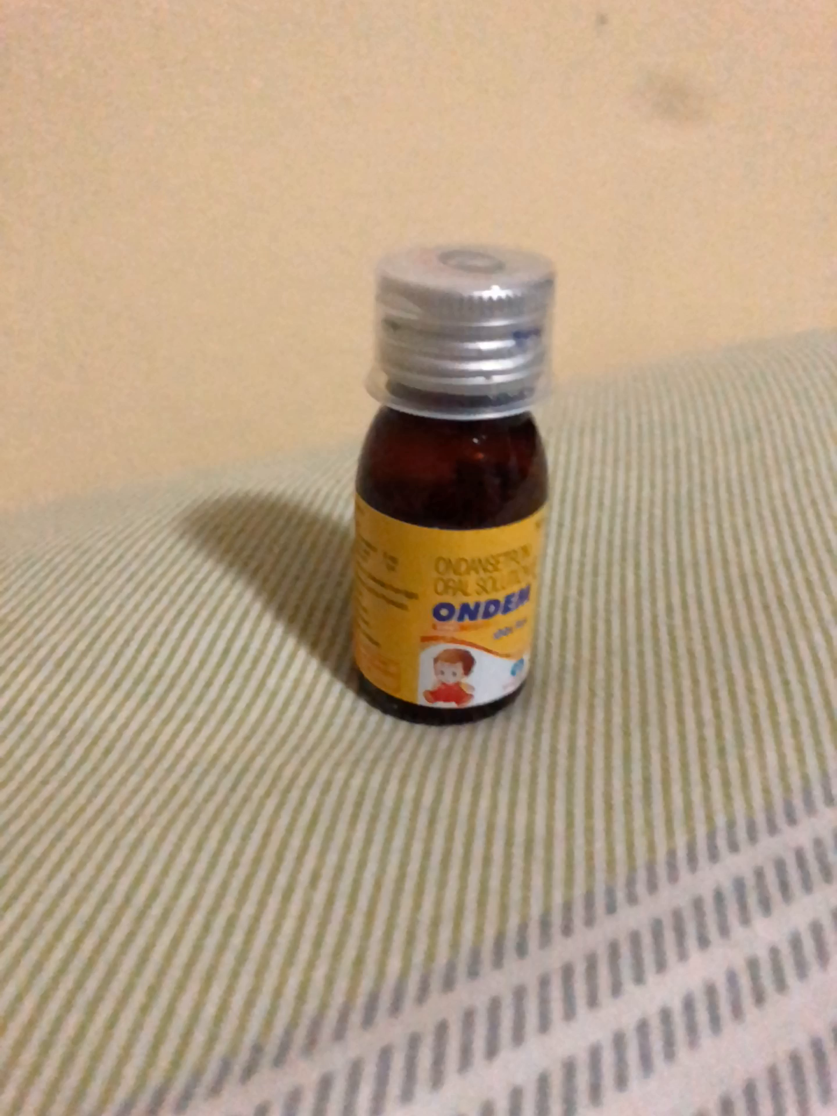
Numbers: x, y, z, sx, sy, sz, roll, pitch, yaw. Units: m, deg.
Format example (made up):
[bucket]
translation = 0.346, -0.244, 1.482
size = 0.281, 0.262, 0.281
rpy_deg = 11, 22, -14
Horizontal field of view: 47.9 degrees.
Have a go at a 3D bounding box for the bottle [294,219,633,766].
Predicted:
[bottle]
translation = 0.003, -0.012, 0.161
size = 0.040, 0.080, 0.040
rpy_deg = 2, 30, -1
